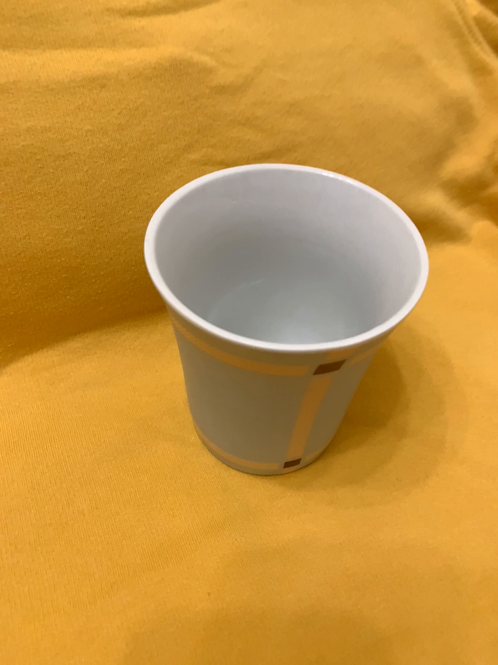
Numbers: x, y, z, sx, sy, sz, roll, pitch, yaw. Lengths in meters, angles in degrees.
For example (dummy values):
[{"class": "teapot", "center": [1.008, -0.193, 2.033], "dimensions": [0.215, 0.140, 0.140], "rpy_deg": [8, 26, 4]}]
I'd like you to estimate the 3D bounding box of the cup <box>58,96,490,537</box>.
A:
[{"class": "cup", "center": [0.011, -0.011, 0.217], "dimensions": [0.098, 0.103, 0.121], "rpy_deg": [32, 54, 19]}]
